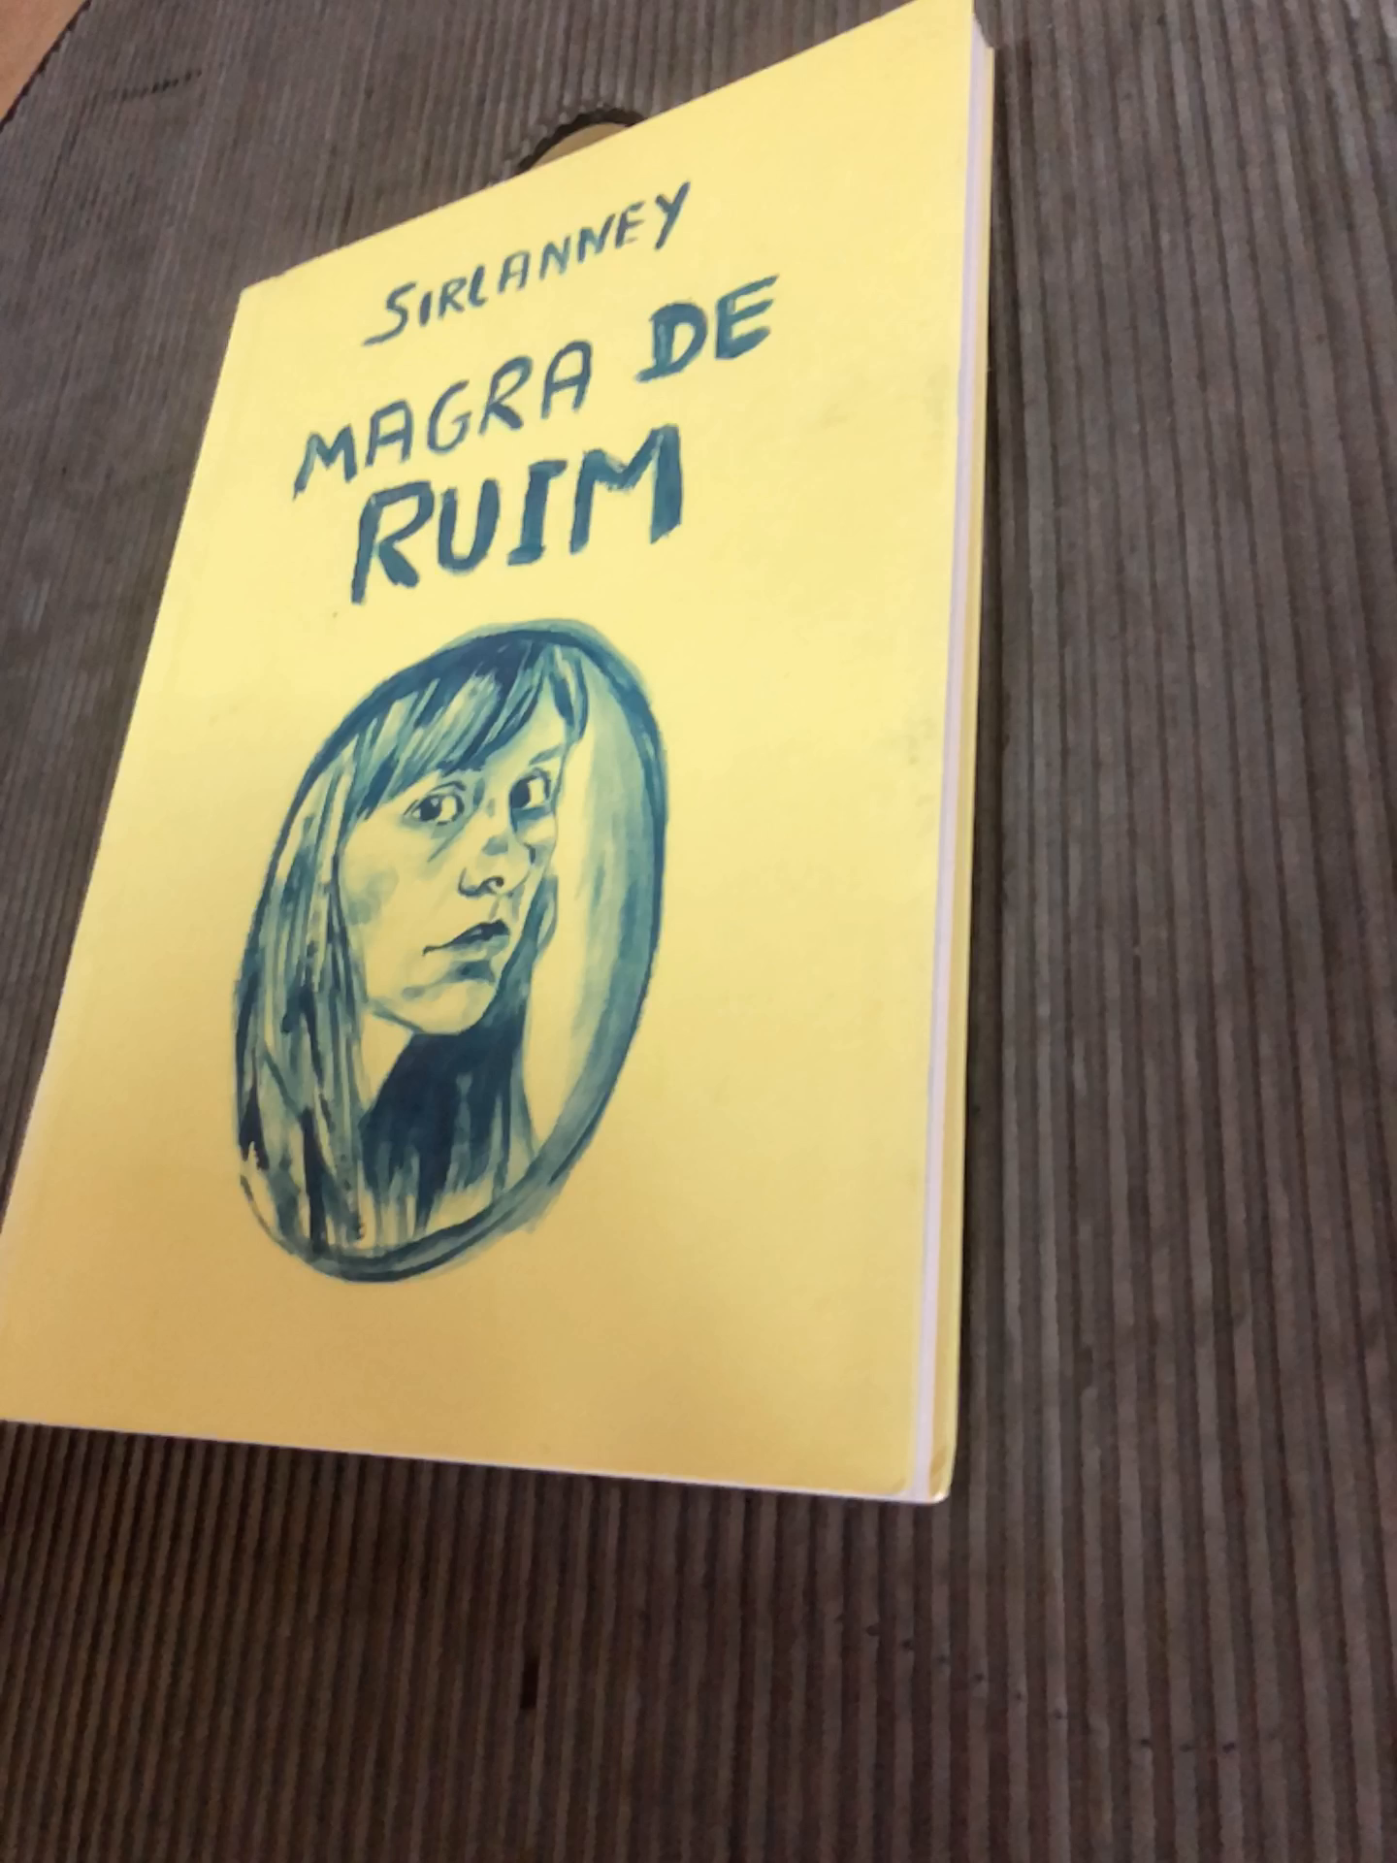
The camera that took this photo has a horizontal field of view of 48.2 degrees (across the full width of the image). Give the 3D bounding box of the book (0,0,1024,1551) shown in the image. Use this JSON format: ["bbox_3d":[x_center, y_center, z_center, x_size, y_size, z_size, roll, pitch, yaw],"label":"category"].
[{"bbox_3d":[-0.031,-0.031,0.226,0.151,0.020,0.210,-6,67,30],"label":"book"}]
